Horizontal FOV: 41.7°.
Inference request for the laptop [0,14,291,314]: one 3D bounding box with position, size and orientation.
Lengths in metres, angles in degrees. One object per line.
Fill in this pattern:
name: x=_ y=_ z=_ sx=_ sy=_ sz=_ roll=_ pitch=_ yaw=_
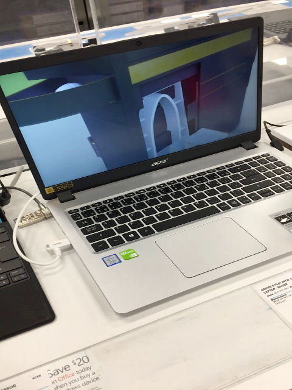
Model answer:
laptop: x=0.076 y=-0.067 z=0.520 sx=0.400 sy=0.221 sz=0.288 roll=-20 pitch=46 yaw=-16
